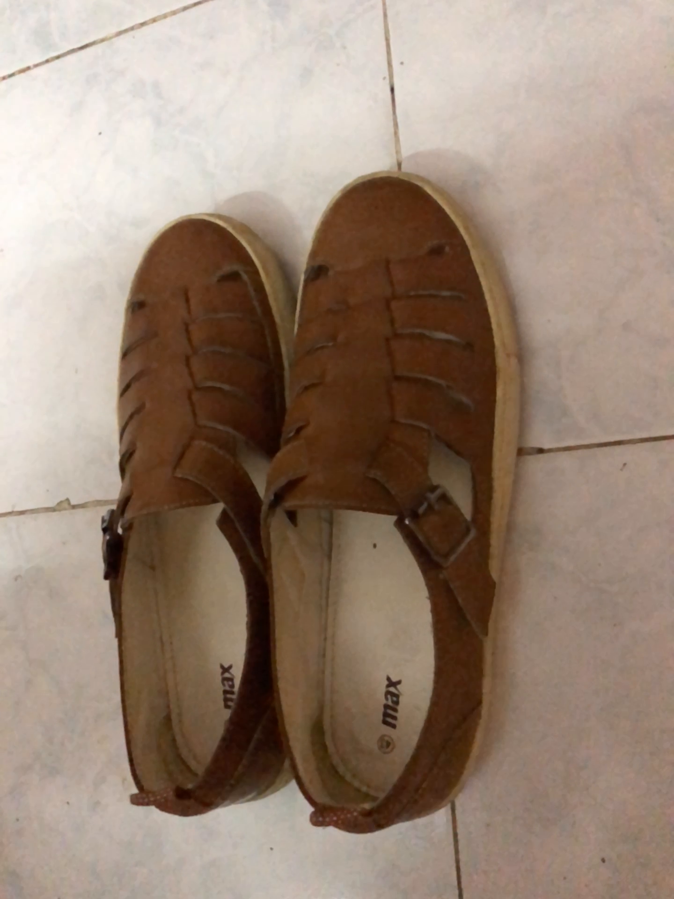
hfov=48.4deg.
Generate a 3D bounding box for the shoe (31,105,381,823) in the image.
[{"bbox_3d":[-0.066,0.008,0.373,0.110,0.100,0.300,-11,78,20],"label":"shoe"}]

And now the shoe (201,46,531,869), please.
[{"bbox_3d":[0.013,0.002,0.336,0.110,0.100,0.300,-5,80,21],"label":"shoe"}]
